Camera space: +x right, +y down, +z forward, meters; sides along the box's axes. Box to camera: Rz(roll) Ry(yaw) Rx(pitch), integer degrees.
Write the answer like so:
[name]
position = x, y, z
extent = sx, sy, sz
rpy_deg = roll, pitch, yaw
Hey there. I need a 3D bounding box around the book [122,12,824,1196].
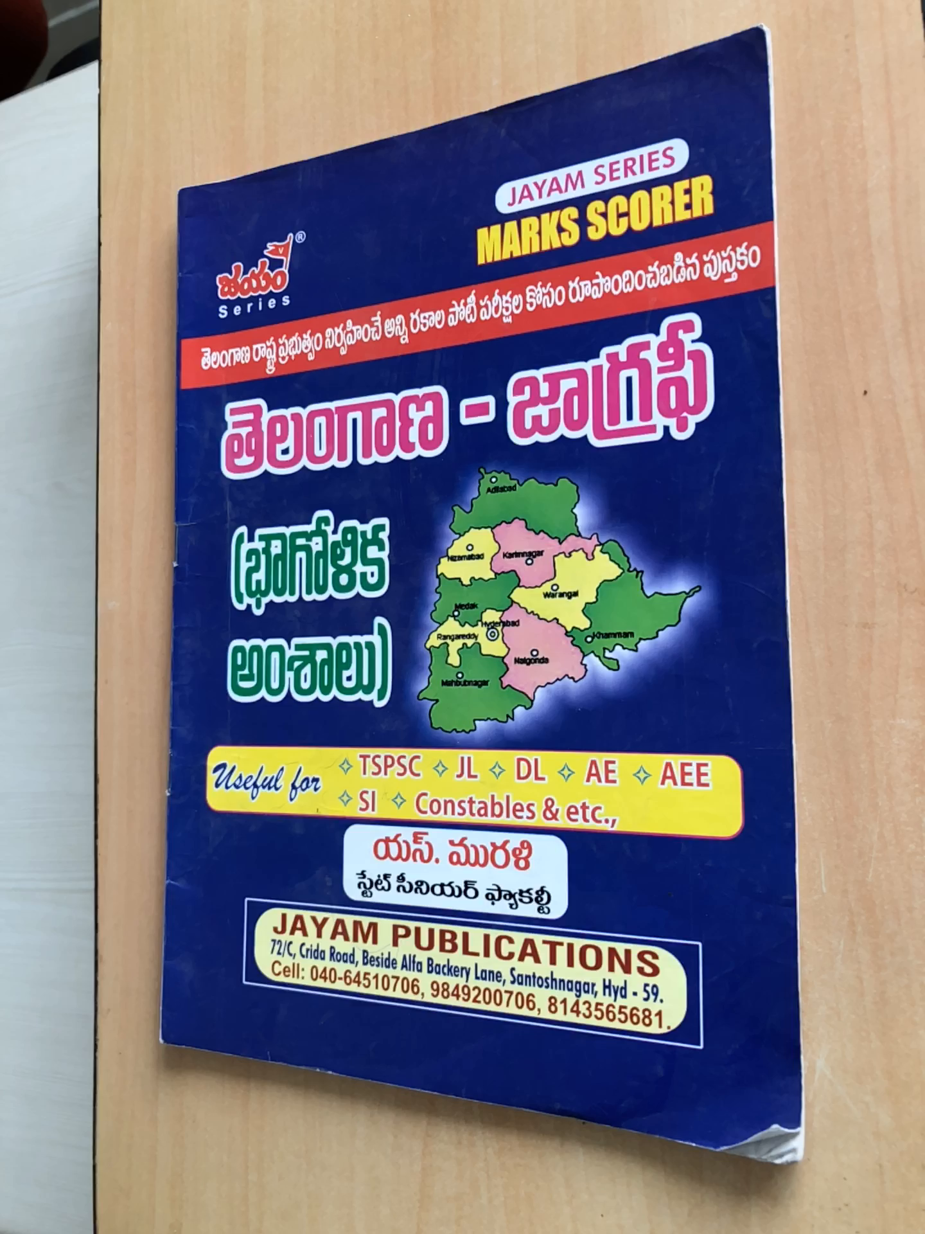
[book]
position = -0.005, -0.006, 0.303
extent = 0.200, 0.040, 0.280
rpy_deg = -2, 84, 26
